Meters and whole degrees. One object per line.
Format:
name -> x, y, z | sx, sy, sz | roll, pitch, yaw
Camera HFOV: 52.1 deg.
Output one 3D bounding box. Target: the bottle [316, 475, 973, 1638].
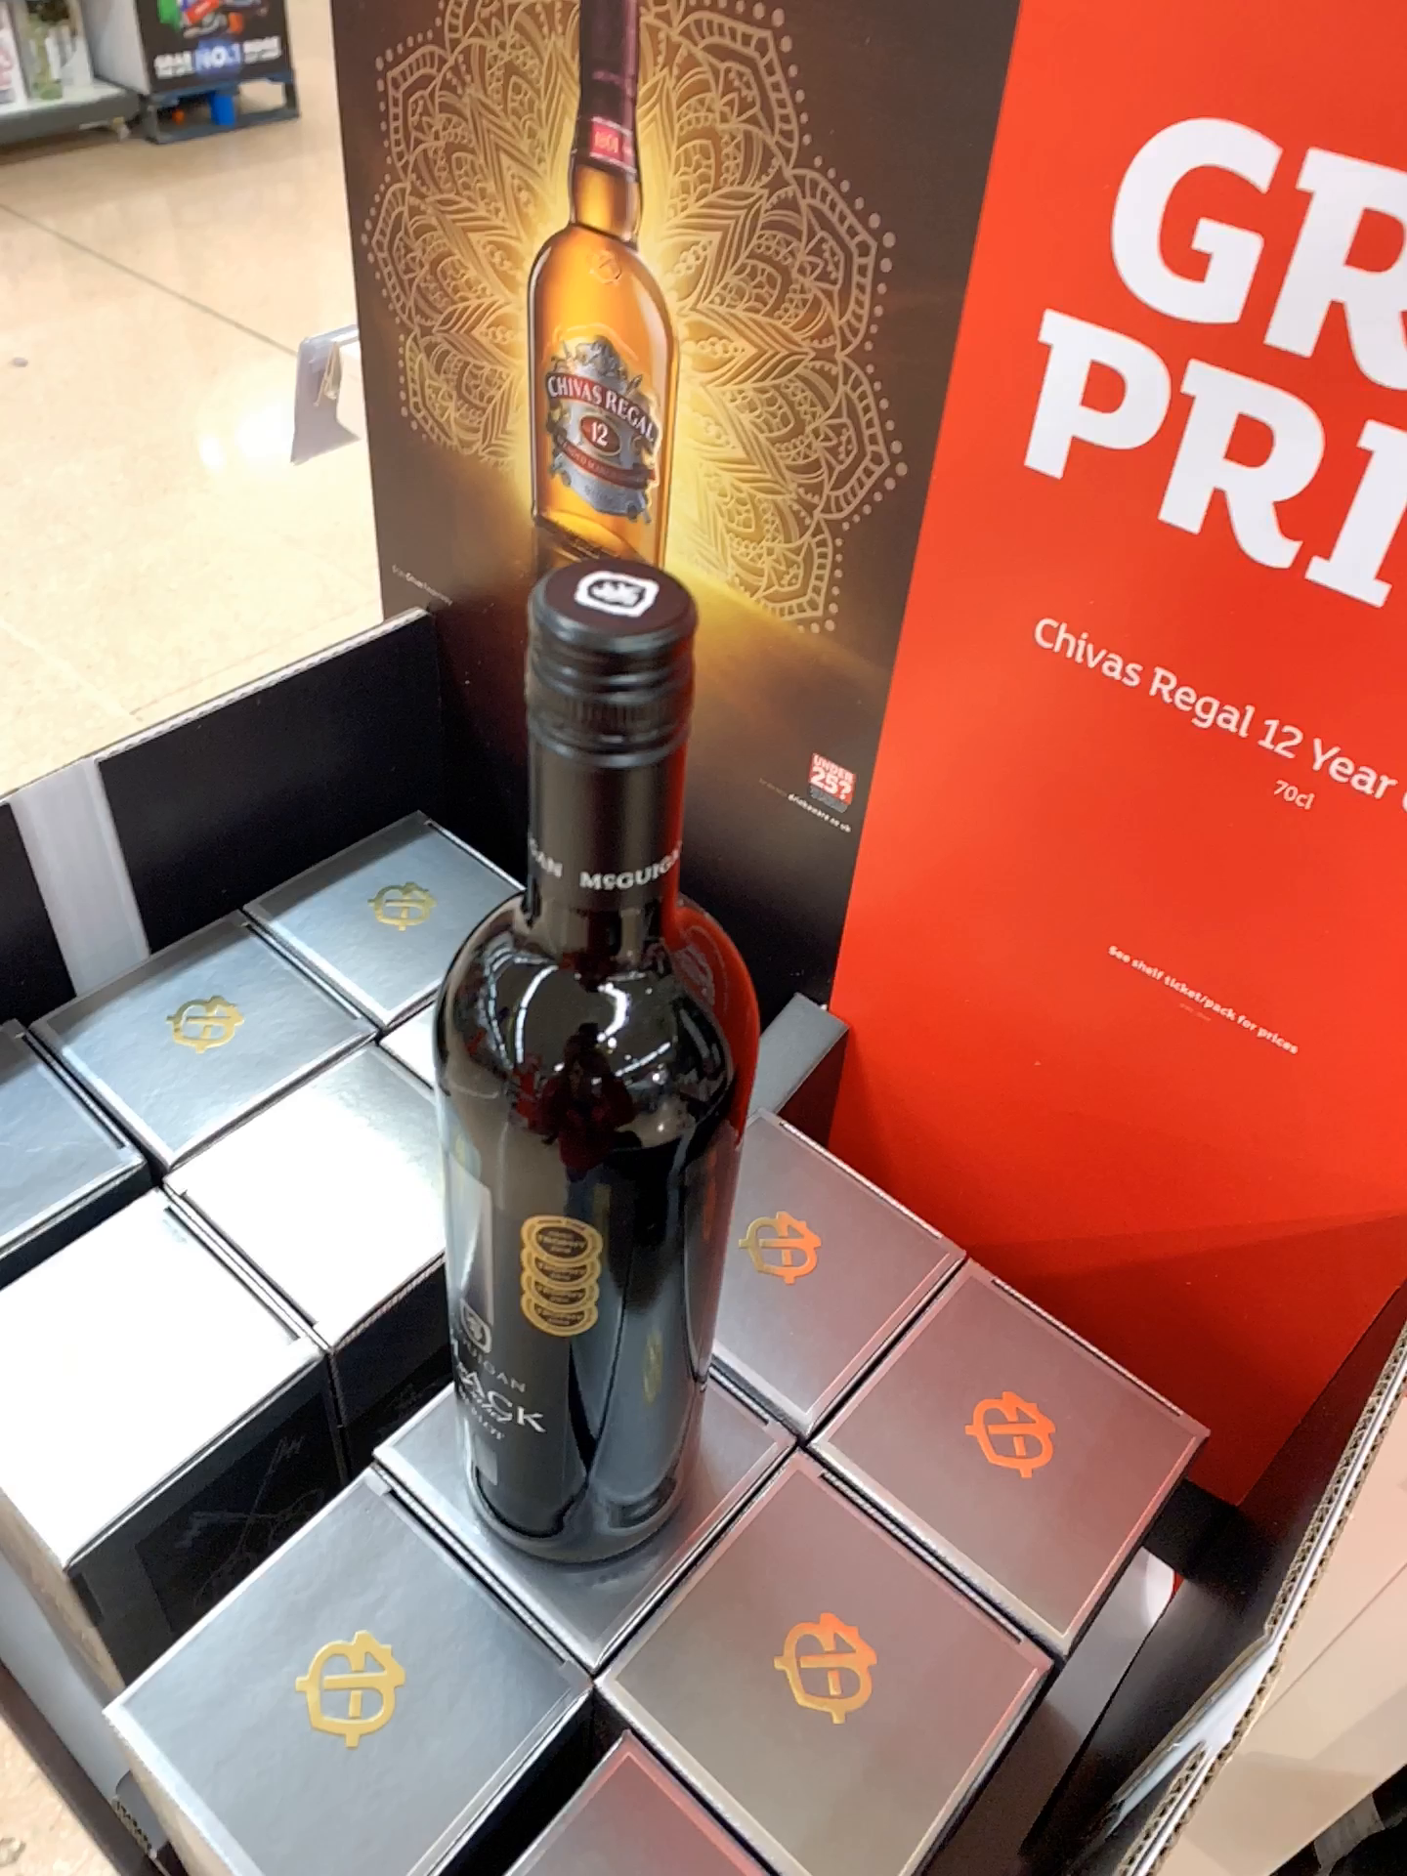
bottle -> -0.020, 0.052, 0.330 | 0.080, 0.287, 0.070 | -23, 51, -26
